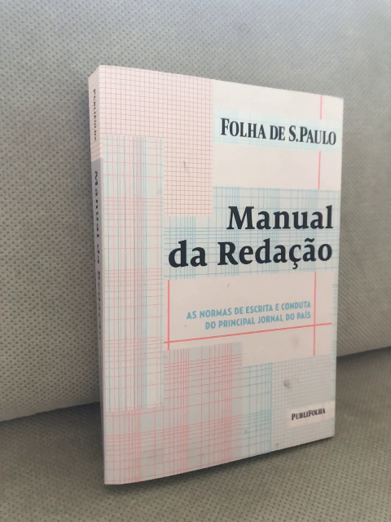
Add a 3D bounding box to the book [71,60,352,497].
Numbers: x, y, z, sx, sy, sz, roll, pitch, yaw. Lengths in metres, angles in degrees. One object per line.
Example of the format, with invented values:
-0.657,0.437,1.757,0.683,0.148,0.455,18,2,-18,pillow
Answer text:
0.015,0.008,0.273,0.166,0.229,0.040,-3,5,-19,book
